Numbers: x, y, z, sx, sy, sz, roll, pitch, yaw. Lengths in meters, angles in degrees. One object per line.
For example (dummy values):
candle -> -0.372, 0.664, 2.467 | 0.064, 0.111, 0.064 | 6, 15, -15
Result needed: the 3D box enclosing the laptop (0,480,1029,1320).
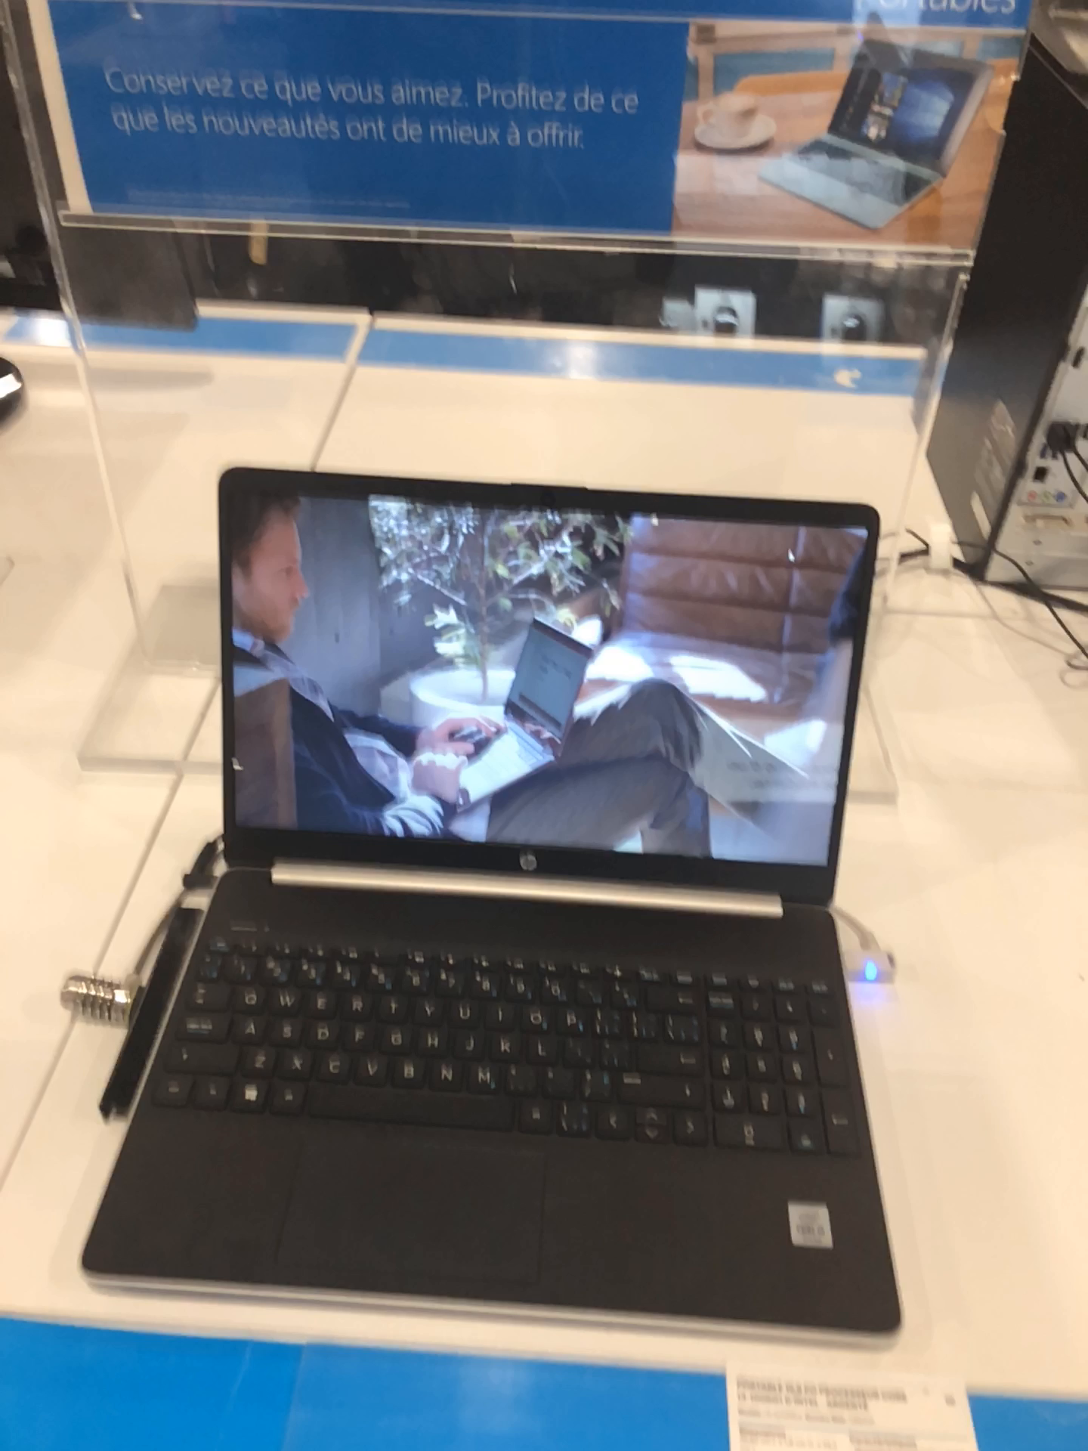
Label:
laptop -> -0.010, 0.061, 0.573 | 0.346, 0.196, 0.335 | 4, 40, 1
